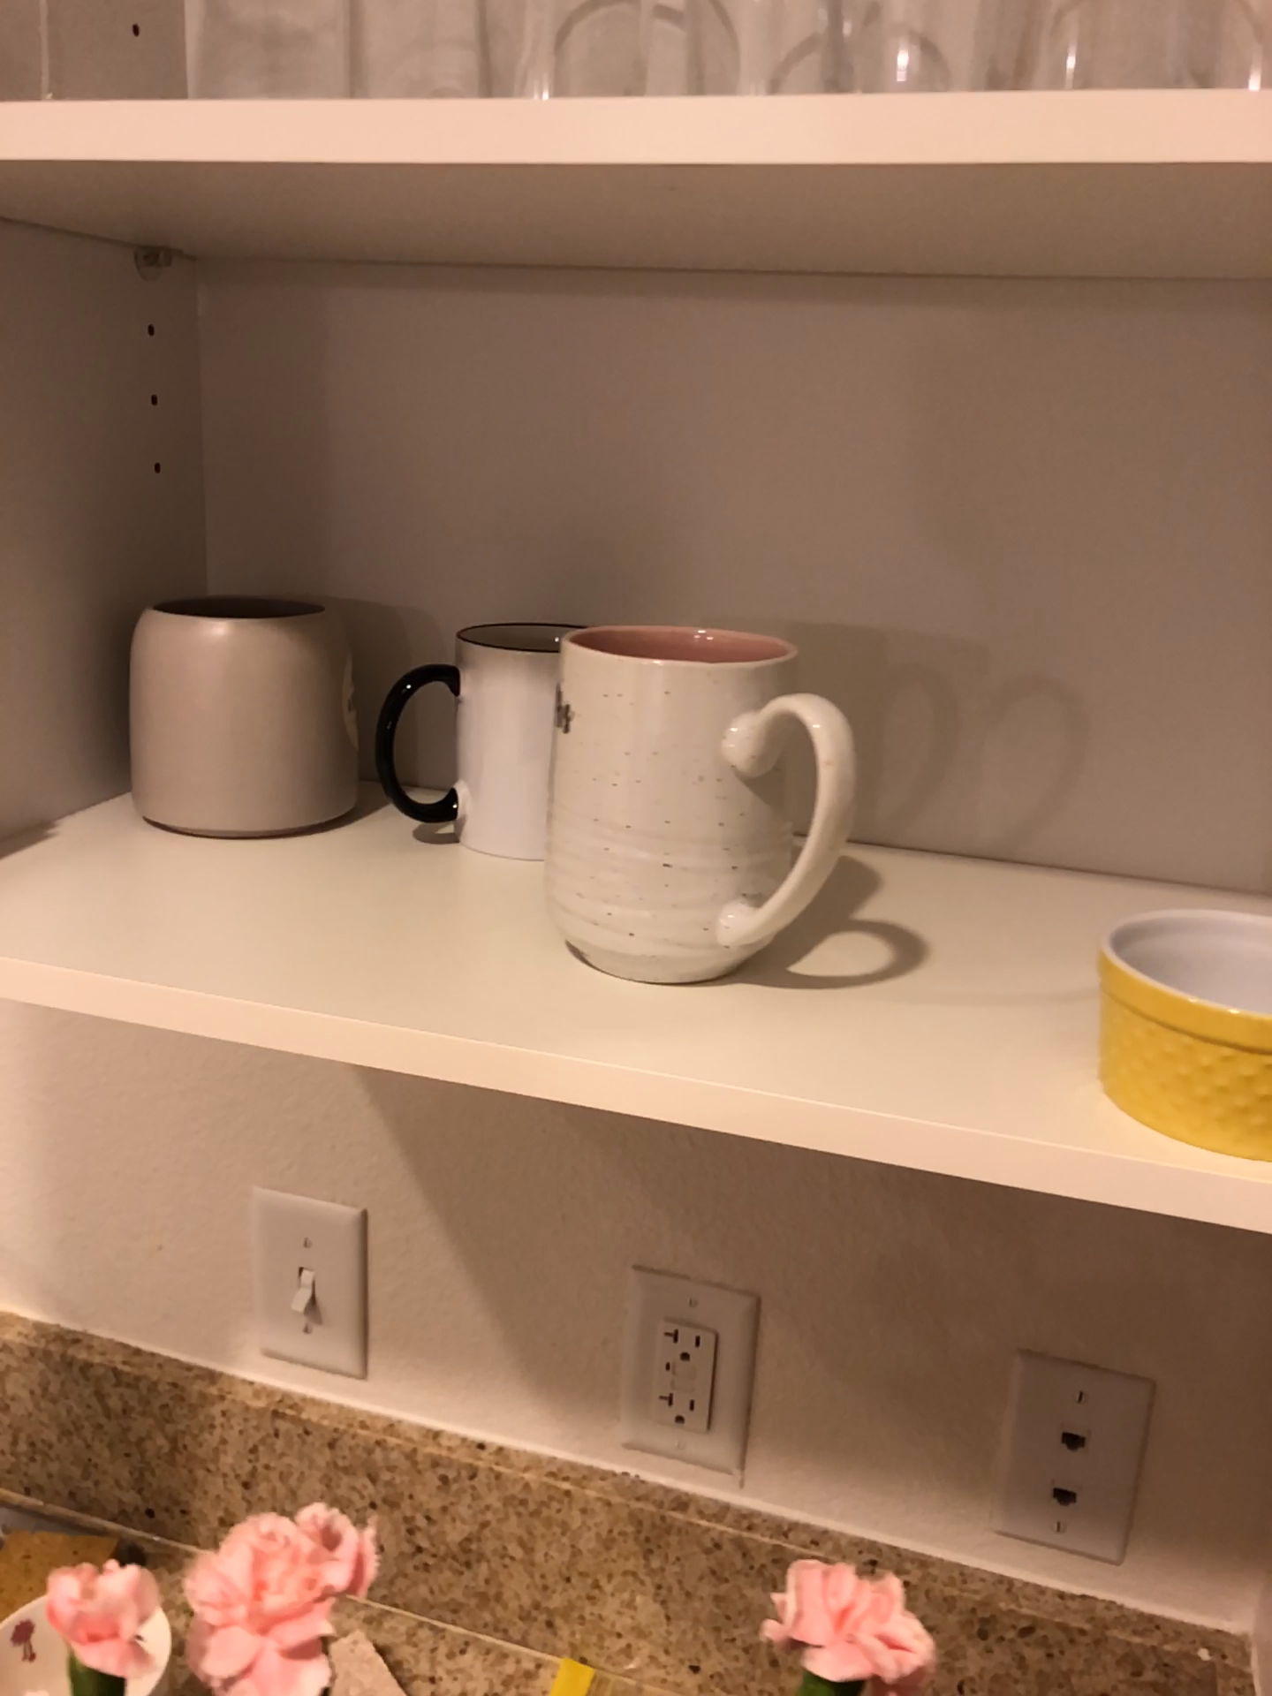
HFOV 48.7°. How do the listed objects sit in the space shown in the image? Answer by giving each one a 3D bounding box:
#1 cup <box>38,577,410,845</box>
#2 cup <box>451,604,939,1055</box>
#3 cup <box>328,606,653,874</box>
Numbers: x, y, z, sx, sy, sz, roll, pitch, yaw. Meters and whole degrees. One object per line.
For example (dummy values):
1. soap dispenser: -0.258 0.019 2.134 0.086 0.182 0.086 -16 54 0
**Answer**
1. cup: -0.183 -0.071 0.659 0.110 0.090 0.151 5 17 9
2. cup: 0.013 -0.016 0.476 0.090 0.110 0.140 -10 21 -36
3. cup: -0.064 -0.050 0.592 0.110 0.090 0.090 -5 18 -24
